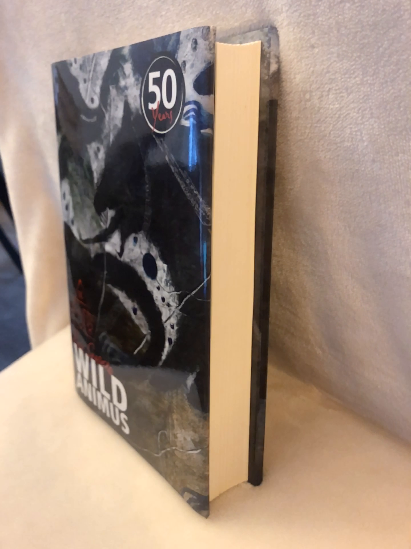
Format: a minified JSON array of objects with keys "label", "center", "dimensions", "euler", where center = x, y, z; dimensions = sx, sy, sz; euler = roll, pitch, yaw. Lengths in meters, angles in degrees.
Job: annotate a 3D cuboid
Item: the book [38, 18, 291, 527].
[{"label":"book","center":[-0.036,-0.007,0.264],"dimensions":[0.043,0.216,0.163],"euler":[-11,20,-38]}]
